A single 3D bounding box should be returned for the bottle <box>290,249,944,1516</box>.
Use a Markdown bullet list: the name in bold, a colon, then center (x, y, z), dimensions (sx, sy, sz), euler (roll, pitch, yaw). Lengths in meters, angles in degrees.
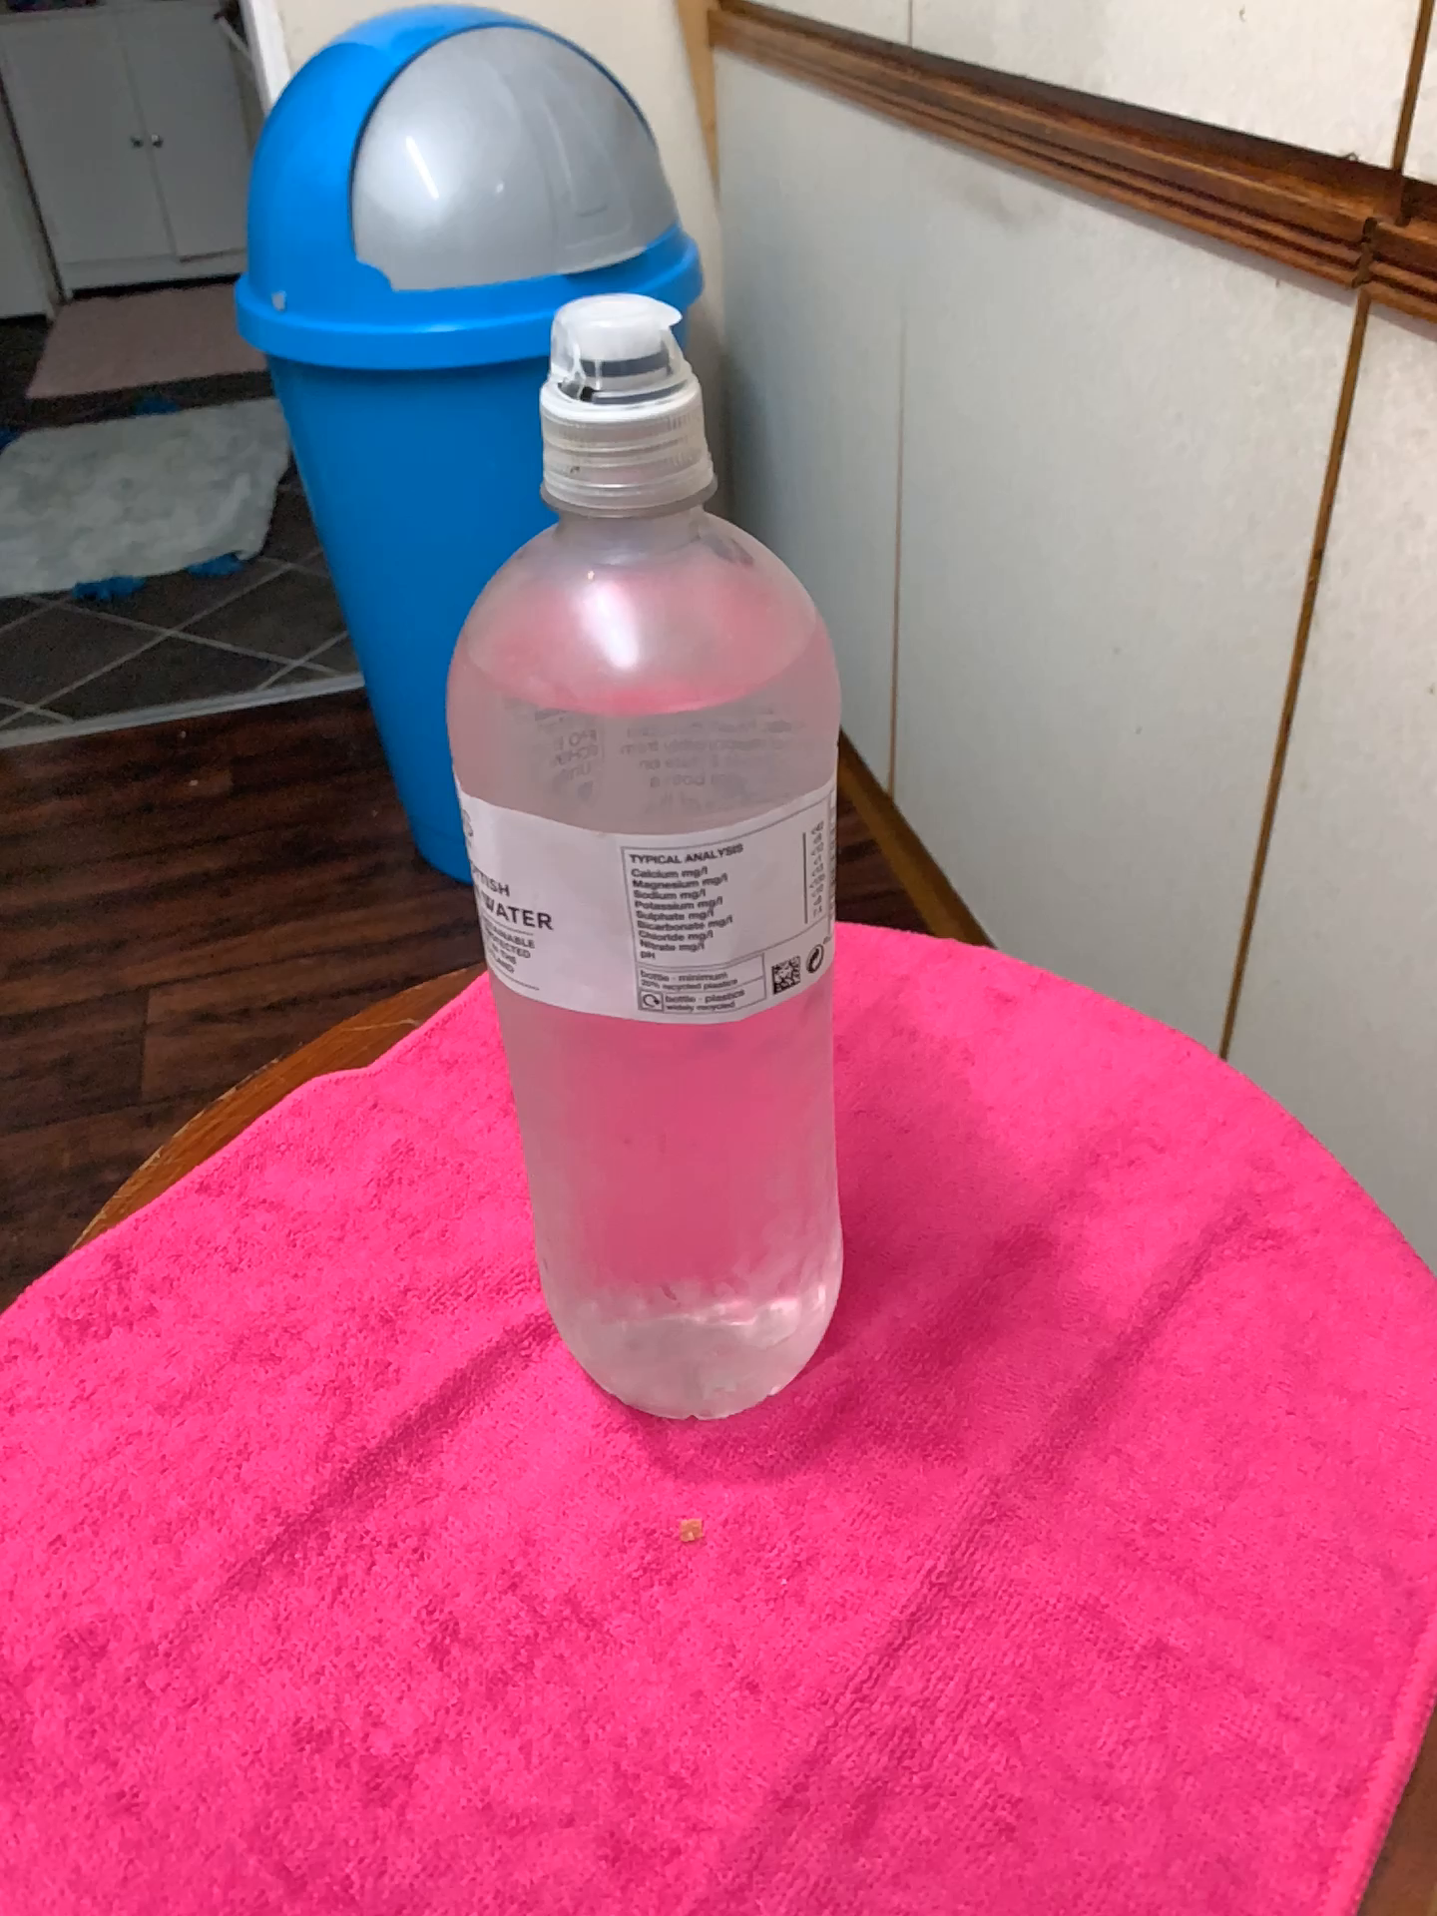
- **bottle**: center (-0.014, -0.004, 0.328), dimensions (0.080, 0.257, 0.091), euler (-21, 40, -21)
